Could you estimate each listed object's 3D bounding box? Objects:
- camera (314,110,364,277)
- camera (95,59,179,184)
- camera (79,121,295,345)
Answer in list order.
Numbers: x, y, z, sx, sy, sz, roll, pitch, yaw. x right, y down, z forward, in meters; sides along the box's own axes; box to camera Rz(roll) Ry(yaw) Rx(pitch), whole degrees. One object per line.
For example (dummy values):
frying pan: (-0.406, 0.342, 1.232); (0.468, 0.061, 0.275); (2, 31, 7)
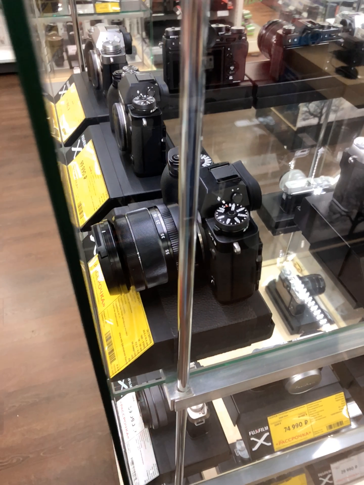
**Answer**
camera: (0.218, -0.051, 0.377); (0.125, 0.088, 0.116); (-11, 44, -12)
camera: (-0.054, -0.145, 0.471); (0.066, 0.088, 0.126); (-12, 44, -13)
camera: (-0.005, -0.015, 0.325); (0.119, 0.099, 0.129); (-13, 45, -15)
